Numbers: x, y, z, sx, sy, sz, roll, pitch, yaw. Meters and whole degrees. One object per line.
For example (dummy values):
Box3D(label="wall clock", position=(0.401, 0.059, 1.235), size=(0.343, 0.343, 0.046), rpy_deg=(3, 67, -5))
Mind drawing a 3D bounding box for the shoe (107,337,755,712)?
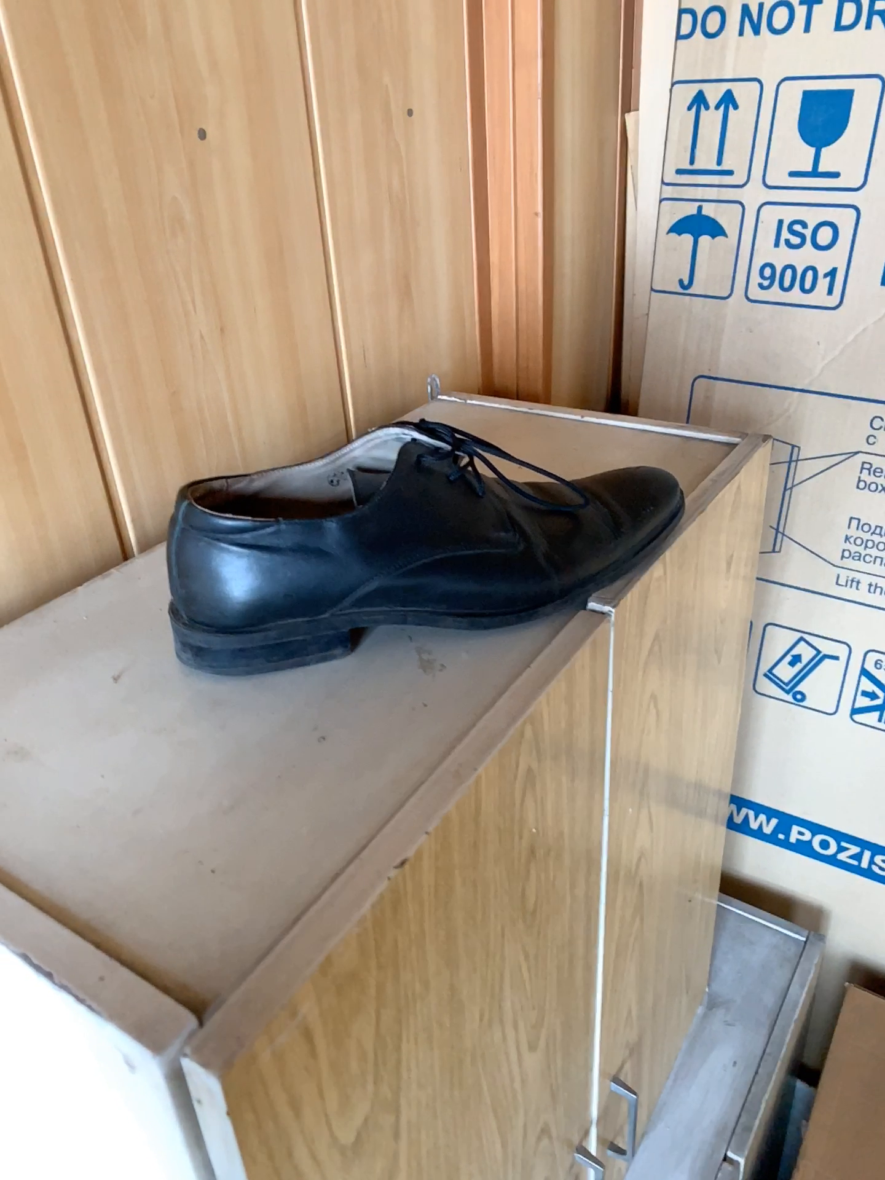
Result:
Box3D(label="shoe", position=(-0.007, -0.052, 0.484), size=(0.300, 0.089, 0.141), rpy_deg=(-15, 32, -19))
